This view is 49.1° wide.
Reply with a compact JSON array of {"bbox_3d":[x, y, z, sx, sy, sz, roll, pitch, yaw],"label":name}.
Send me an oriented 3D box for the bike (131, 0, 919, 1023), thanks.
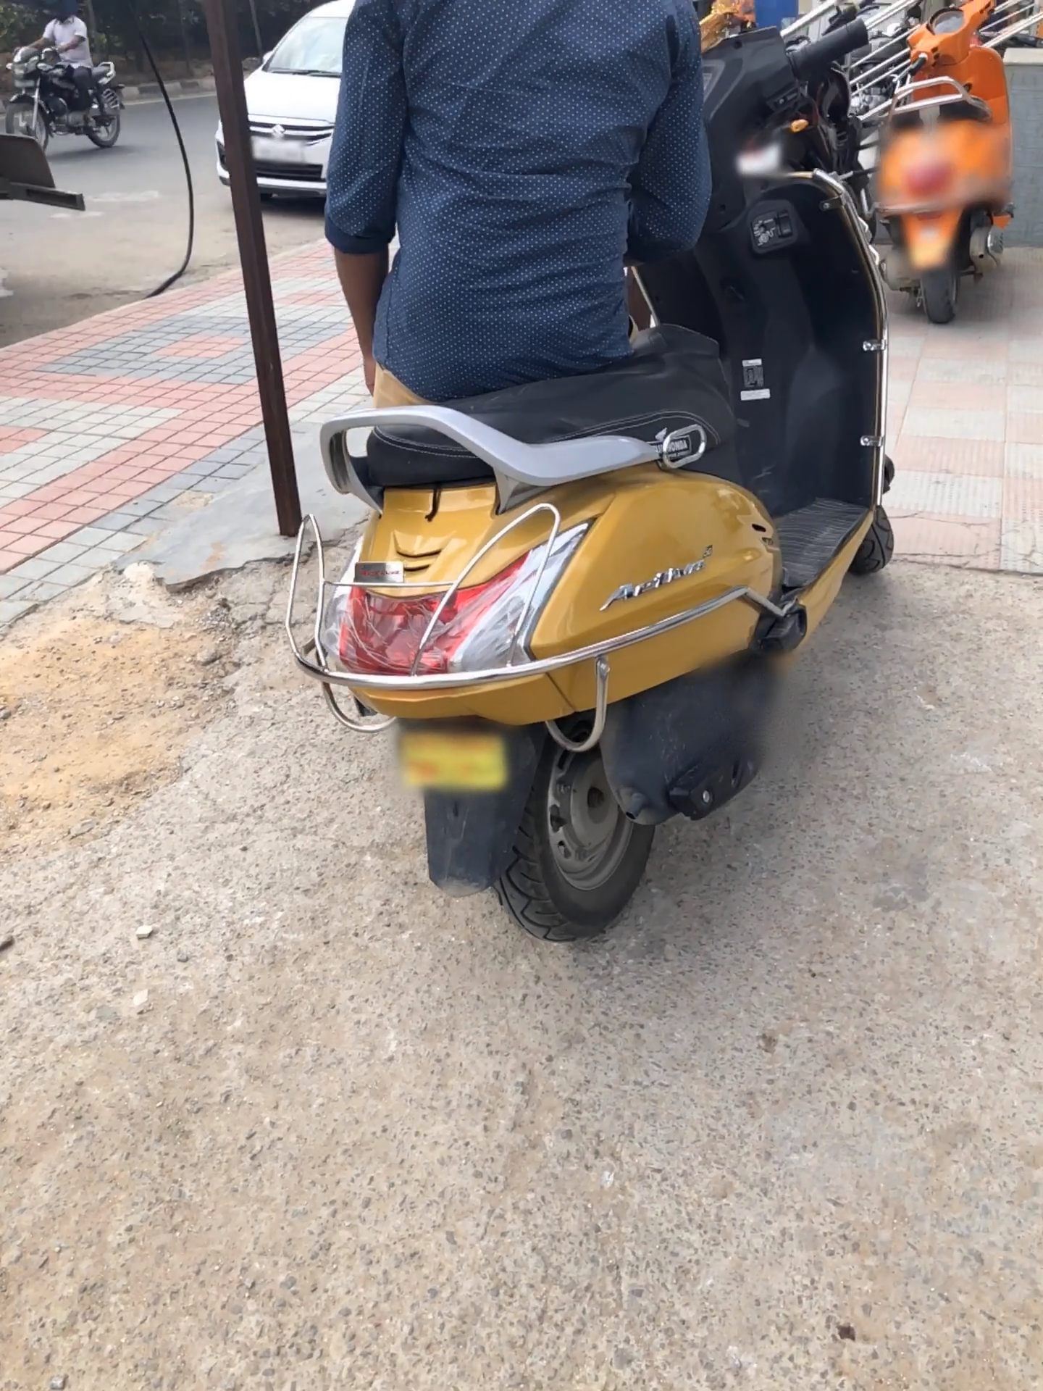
[{"bbox_3d":[0.163,-0.543,1.934,0.584,1.153,1.537,12,36,21],"label":"bike"}]
